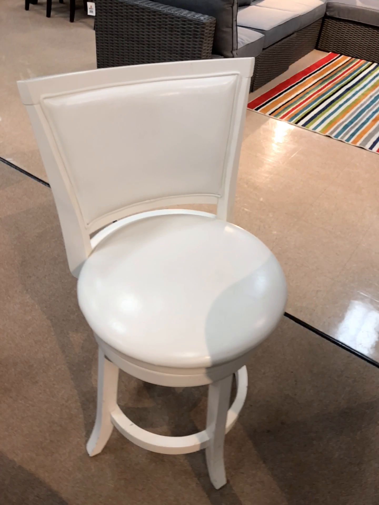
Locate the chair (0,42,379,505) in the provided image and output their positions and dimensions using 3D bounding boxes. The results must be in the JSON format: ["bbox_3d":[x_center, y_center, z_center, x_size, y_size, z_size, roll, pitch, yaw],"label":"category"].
[{"bbox_3d":[-0.004,0.112,0.975,0.620,0.944,0.574,-12,45,-19],"label":"chair"}]
